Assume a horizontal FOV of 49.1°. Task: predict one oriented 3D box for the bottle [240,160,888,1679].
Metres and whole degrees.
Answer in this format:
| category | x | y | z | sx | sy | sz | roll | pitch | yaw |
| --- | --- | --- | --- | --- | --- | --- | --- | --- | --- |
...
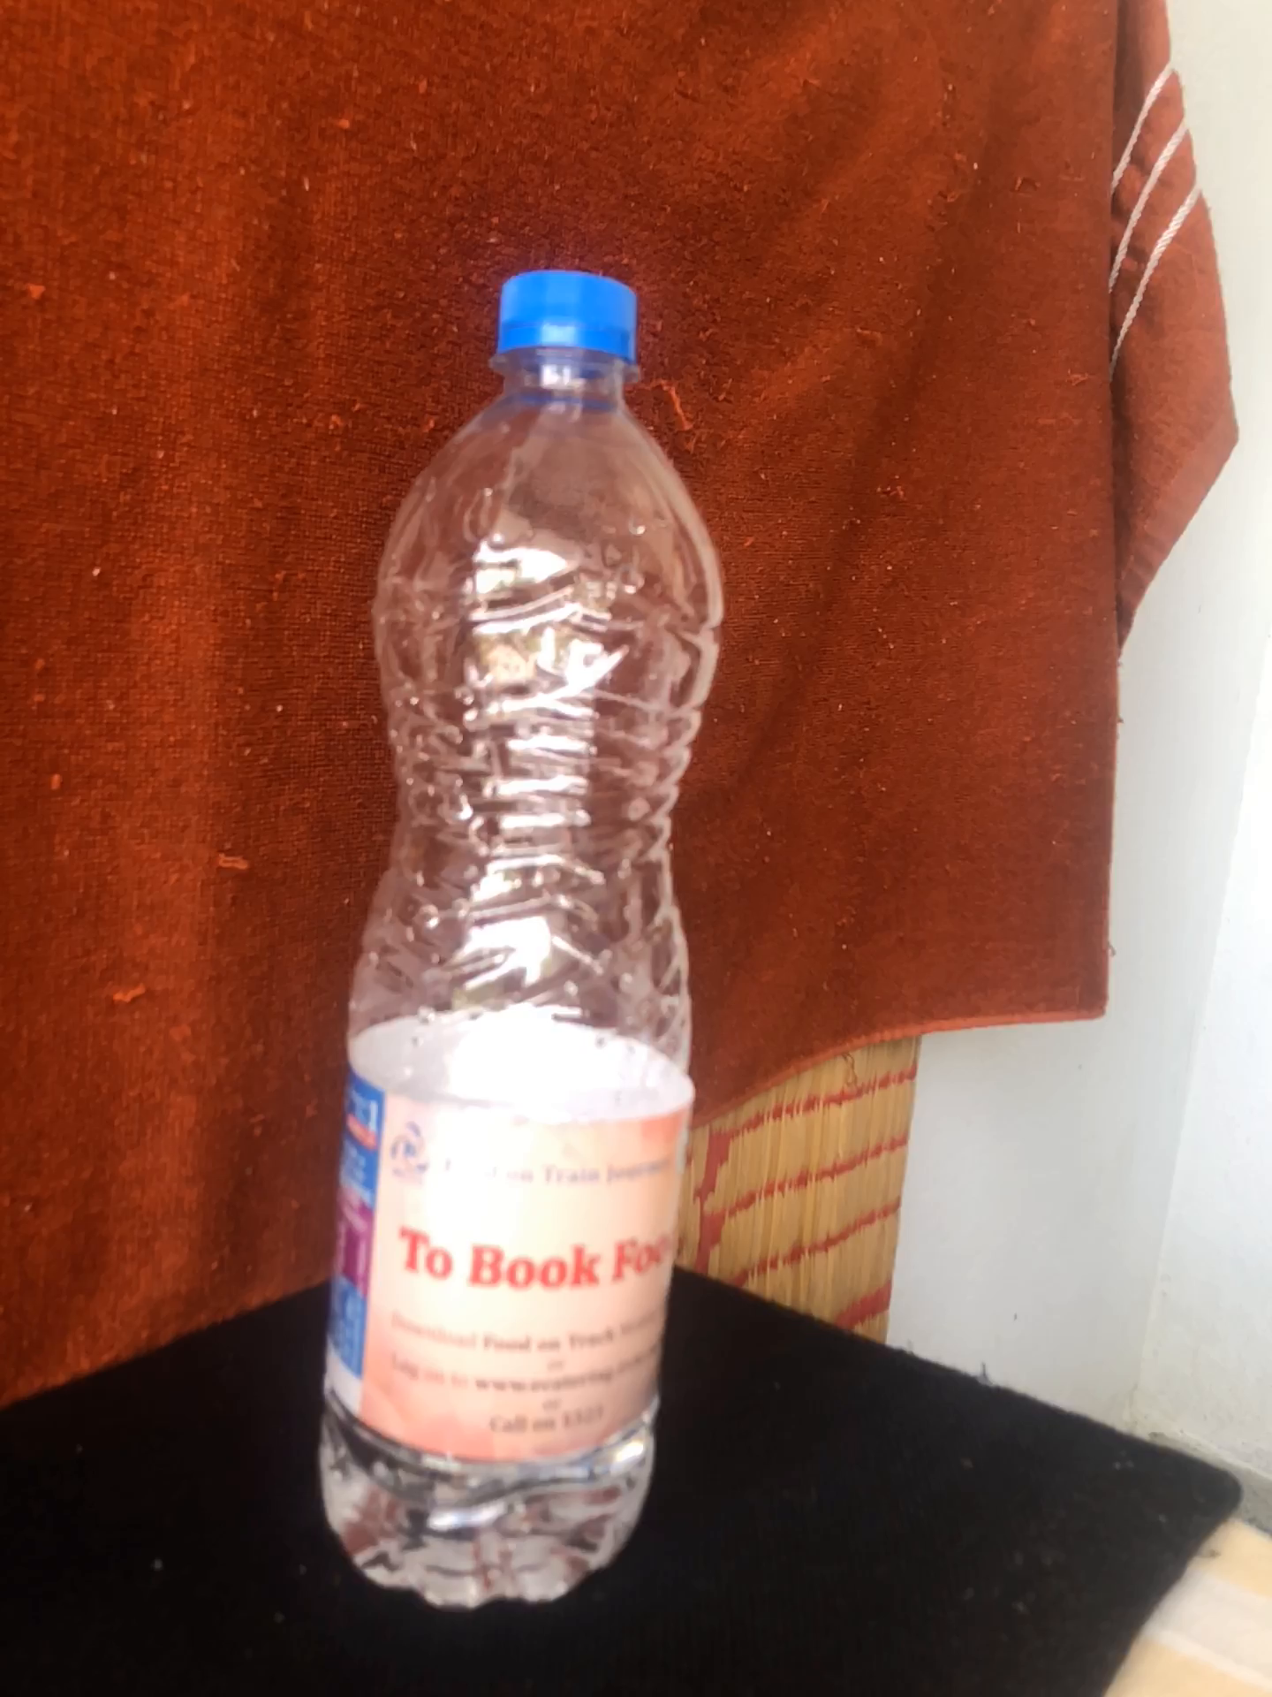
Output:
| category | x | y | z | sx | sy | sz | roll | pitch | yaw |
| --- | --- | --- | --- | --- | --- | --- | --- | --- | --- |
| bottle | -0.023 | 0.019 | 0.300 | 0.090 | 0.280 | 0.070 | 4 | 7 | -22 |
